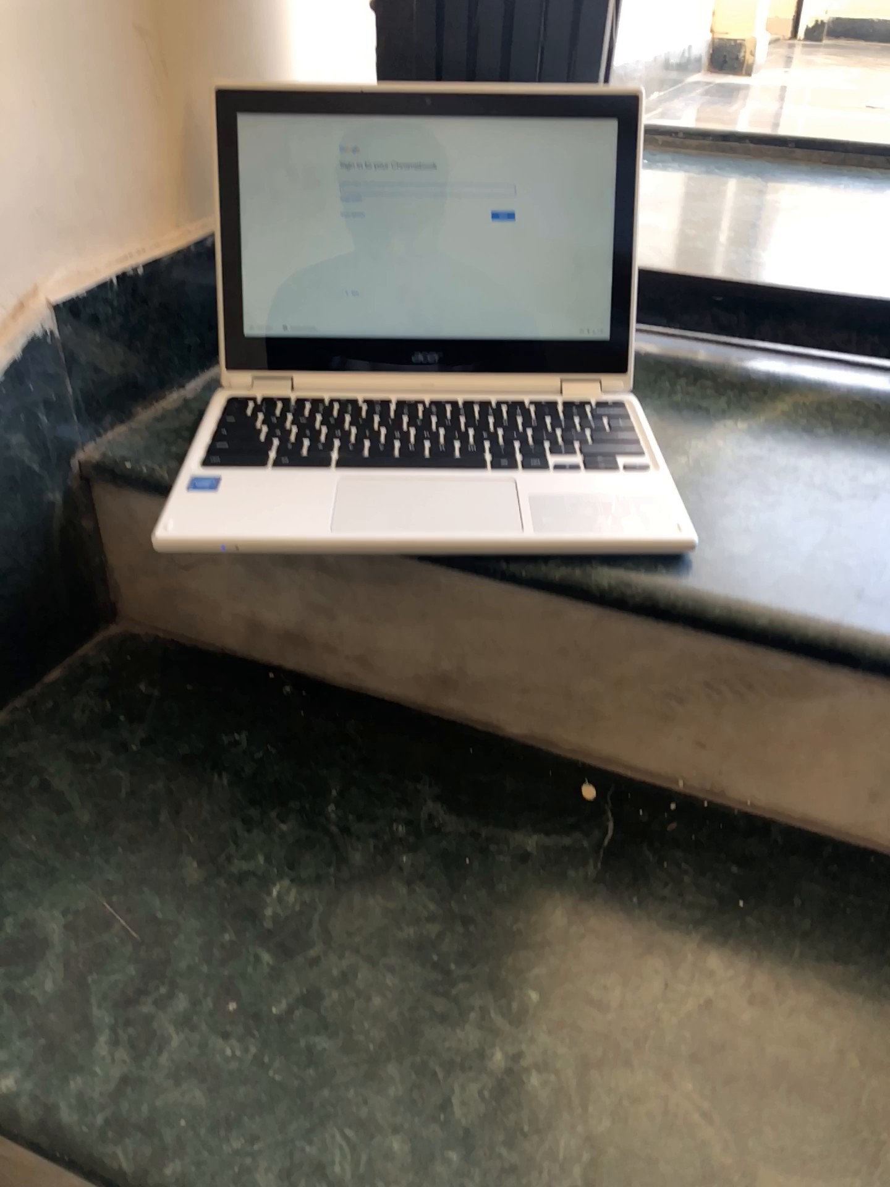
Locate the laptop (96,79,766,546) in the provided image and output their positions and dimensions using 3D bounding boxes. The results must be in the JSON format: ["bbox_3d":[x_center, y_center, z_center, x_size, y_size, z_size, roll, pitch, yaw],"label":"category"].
[{"bbox_3d":[-0.008,-0.177,0.564,0.278,0.178,0.273,0,33,-2],"label":"laptop"}]
